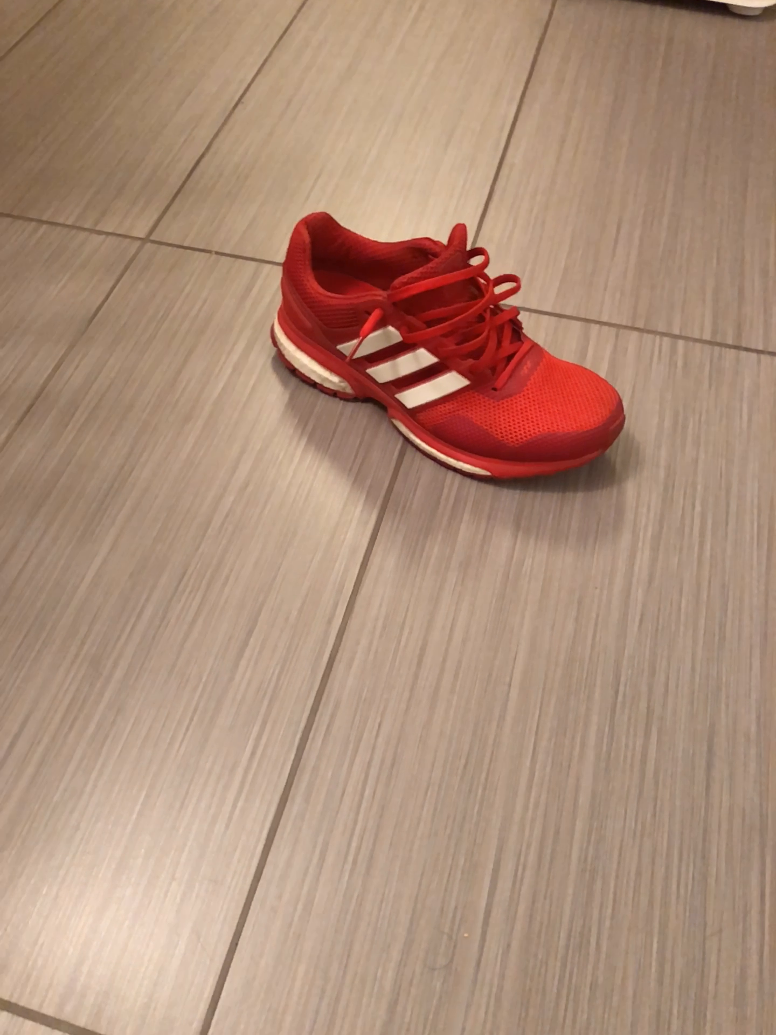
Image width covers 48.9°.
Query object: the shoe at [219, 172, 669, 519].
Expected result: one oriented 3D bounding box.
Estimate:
[{"bbox_3d":[0.034,-0.134,0.629,0.290,0.100,0.120,28,60,19],"label":"shoe"}]
